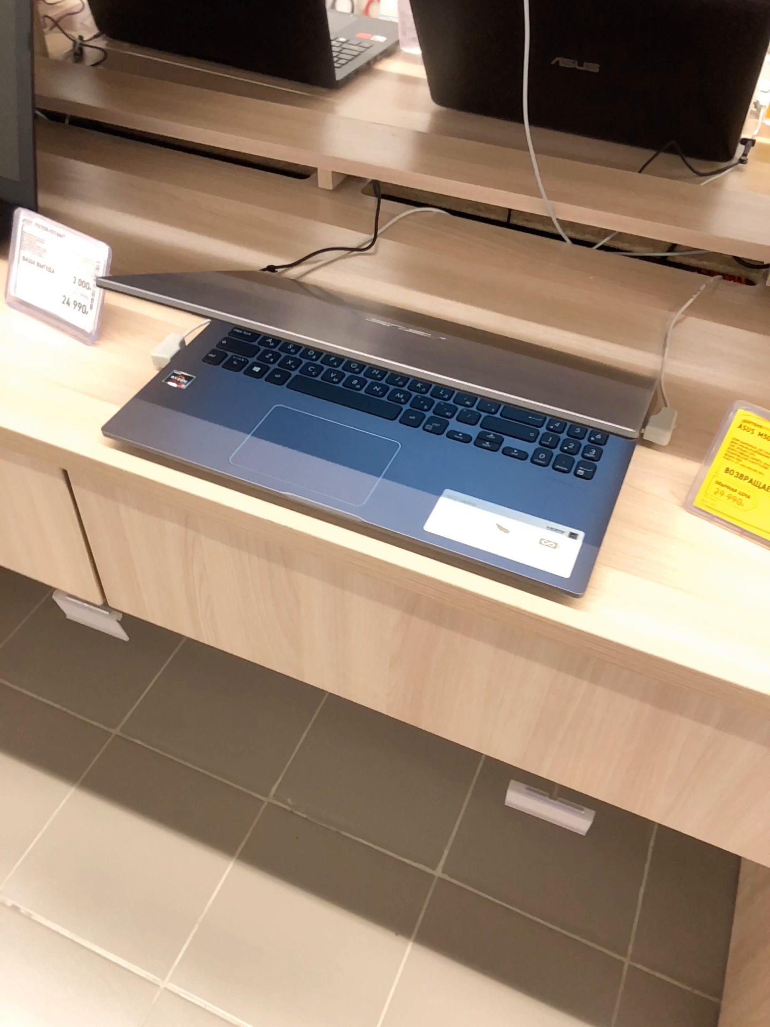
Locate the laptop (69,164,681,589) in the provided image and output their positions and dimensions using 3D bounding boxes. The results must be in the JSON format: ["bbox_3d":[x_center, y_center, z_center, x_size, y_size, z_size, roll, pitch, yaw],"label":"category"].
[{"bbox_3d":[0.002,-0.120,0.609,0.349,0.111,0.233,19,47,16],"label":"laptop"}]
